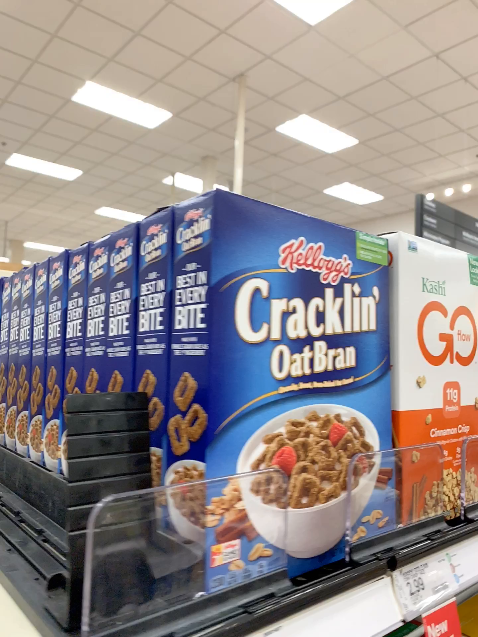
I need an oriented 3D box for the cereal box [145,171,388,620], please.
[{"bbox_3d":[0.034,0.045,0.351,0.190,0.240,0.050,7,-7,-43],"label":"cereal box"}]
